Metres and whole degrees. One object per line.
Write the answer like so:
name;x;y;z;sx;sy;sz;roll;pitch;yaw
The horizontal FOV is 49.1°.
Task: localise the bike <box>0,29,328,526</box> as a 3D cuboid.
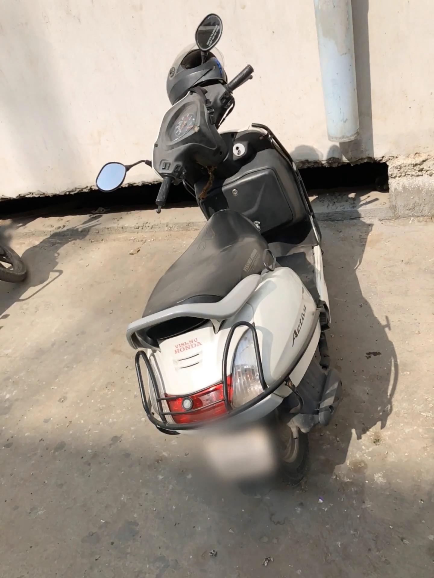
bike;-0.171;-0.108;1.728;0.625;1.122;1.307;-13;37;6
